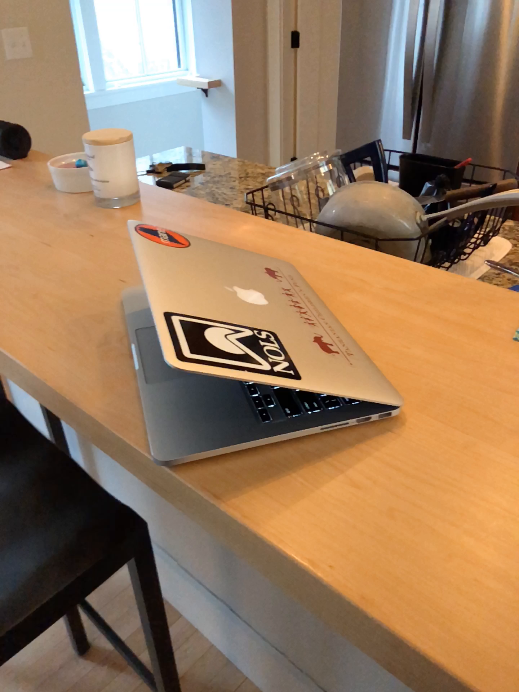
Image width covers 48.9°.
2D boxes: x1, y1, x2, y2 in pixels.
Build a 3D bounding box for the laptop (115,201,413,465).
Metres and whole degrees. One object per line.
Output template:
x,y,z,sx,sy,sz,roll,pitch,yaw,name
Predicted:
-0.021,-0.041,0.562,0.210,0.084,0.301,-10,34,-12,laptop
